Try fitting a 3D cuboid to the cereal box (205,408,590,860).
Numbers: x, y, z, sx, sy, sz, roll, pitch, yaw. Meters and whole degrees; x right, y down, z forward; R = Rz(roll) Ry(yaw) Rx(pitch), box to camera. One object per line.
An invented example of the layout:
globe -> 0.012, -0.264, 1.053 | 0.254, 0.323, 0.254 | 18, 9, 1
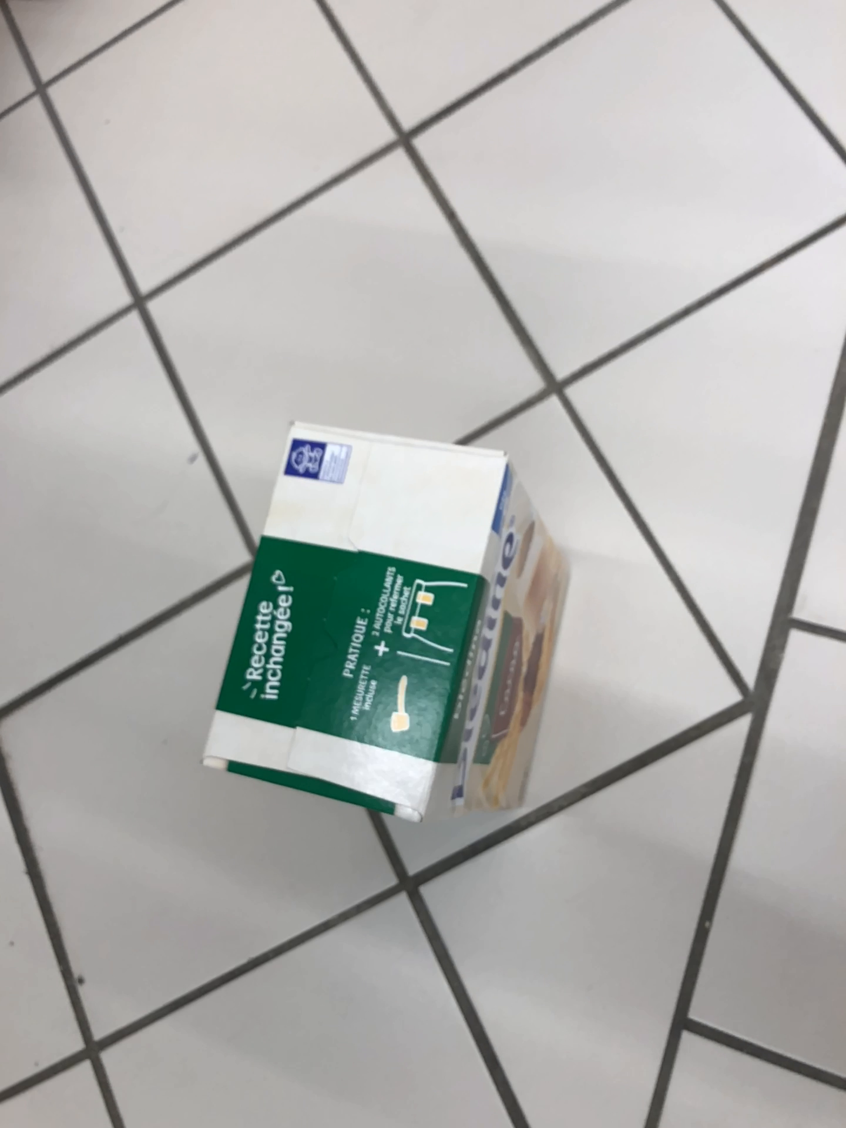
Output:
cereal box -> 0.007, 0.038, 0.411 | 0.090, 0.190, 0.140 | 10, 80, 16
